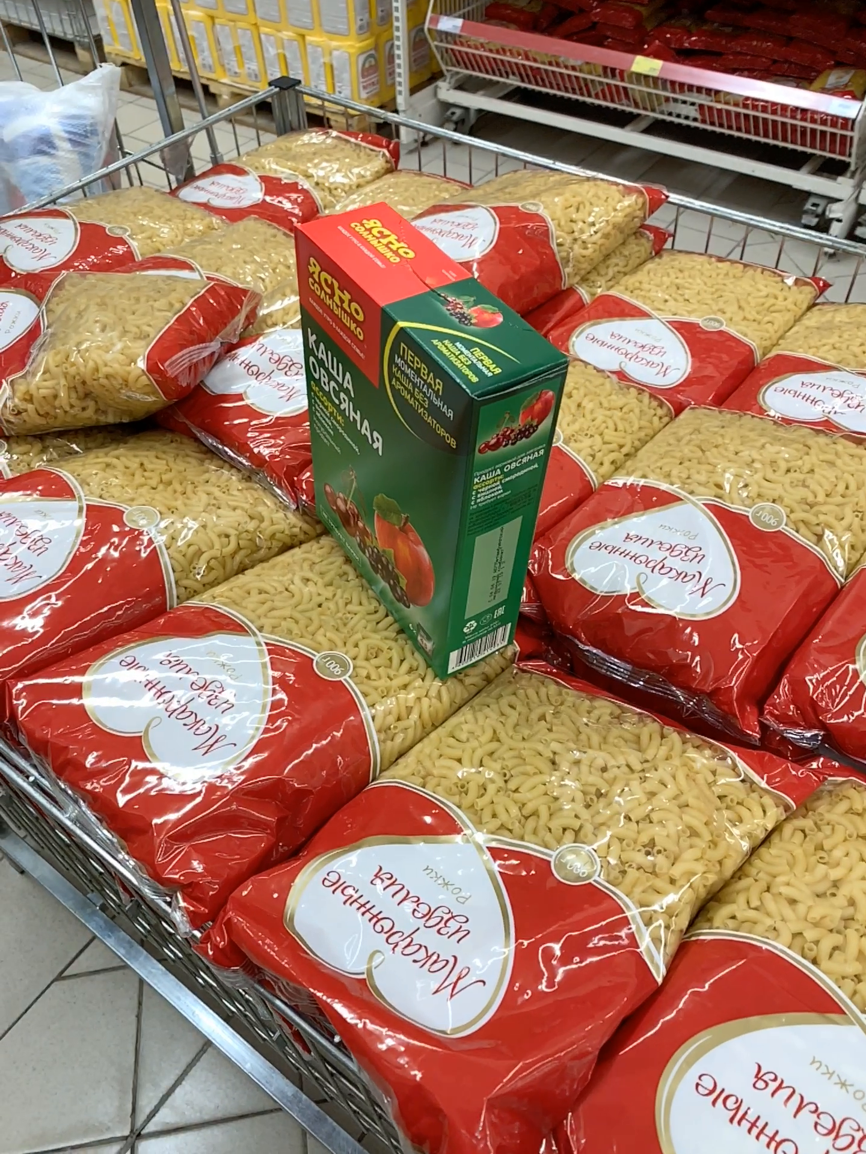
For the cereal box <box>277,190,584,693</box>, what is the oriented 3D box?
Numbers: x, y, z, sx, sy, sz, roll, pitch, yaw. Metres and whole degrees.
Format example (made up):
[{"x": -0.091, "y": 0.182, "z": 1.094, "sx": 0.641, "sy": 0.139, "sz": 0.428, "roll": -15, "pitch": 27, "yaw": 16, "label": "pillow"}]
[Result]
[{"x": -0.013, "y": -0.066, "z": 0.467, "sx": 0.060, "sy": 0.198, "sz": 0.161, "roll": -23, "pitch": 54, "yaw": -23, "label": "cereal box"}]
